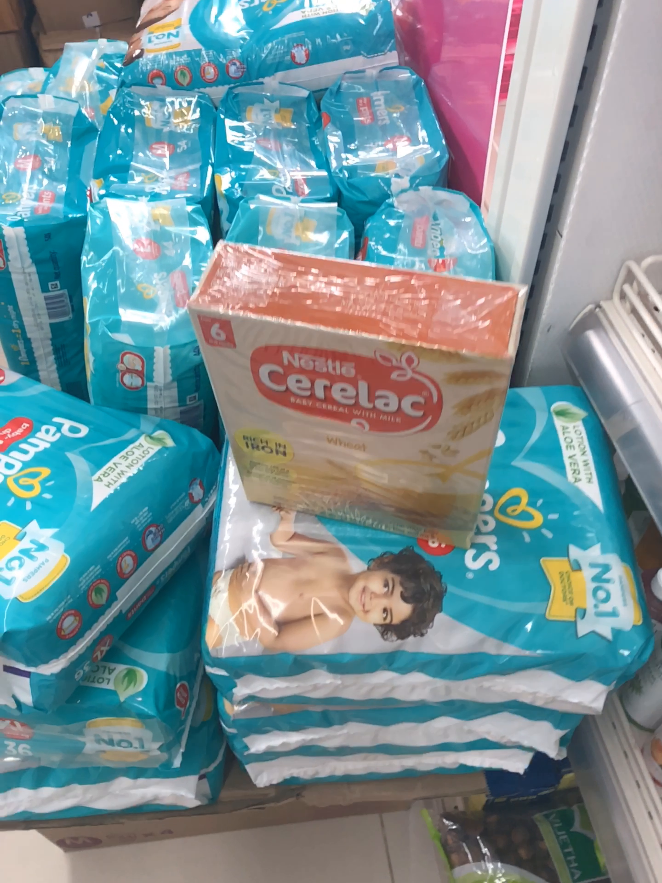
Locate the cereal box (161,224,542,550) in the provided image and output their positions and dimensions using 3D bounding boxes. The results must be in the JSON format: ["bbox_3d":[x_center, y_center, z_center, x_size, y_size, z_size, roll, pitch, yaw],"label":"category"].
[{"bbox_3d":[0.013,-0.019,0.397,0.160,0.180,0.050,11,58,11],"label":"cereal box"}]
